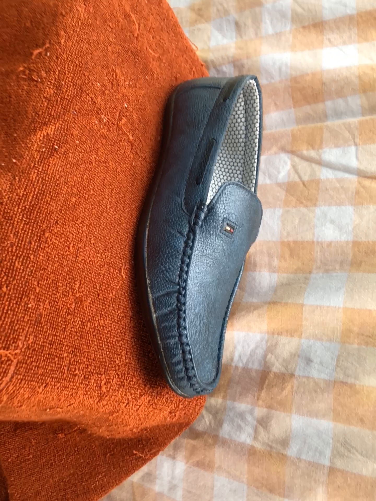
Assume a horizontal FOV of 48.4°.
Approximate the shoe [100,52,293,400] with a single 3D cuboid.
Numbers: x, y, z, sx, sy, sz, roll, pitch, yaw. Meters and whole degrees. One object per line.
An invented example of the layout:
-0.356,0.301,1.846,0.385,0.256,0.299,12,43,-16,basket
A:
0.023,-0.021,0.353,0.101,0.089,0.260,42,51,-53,shoe
